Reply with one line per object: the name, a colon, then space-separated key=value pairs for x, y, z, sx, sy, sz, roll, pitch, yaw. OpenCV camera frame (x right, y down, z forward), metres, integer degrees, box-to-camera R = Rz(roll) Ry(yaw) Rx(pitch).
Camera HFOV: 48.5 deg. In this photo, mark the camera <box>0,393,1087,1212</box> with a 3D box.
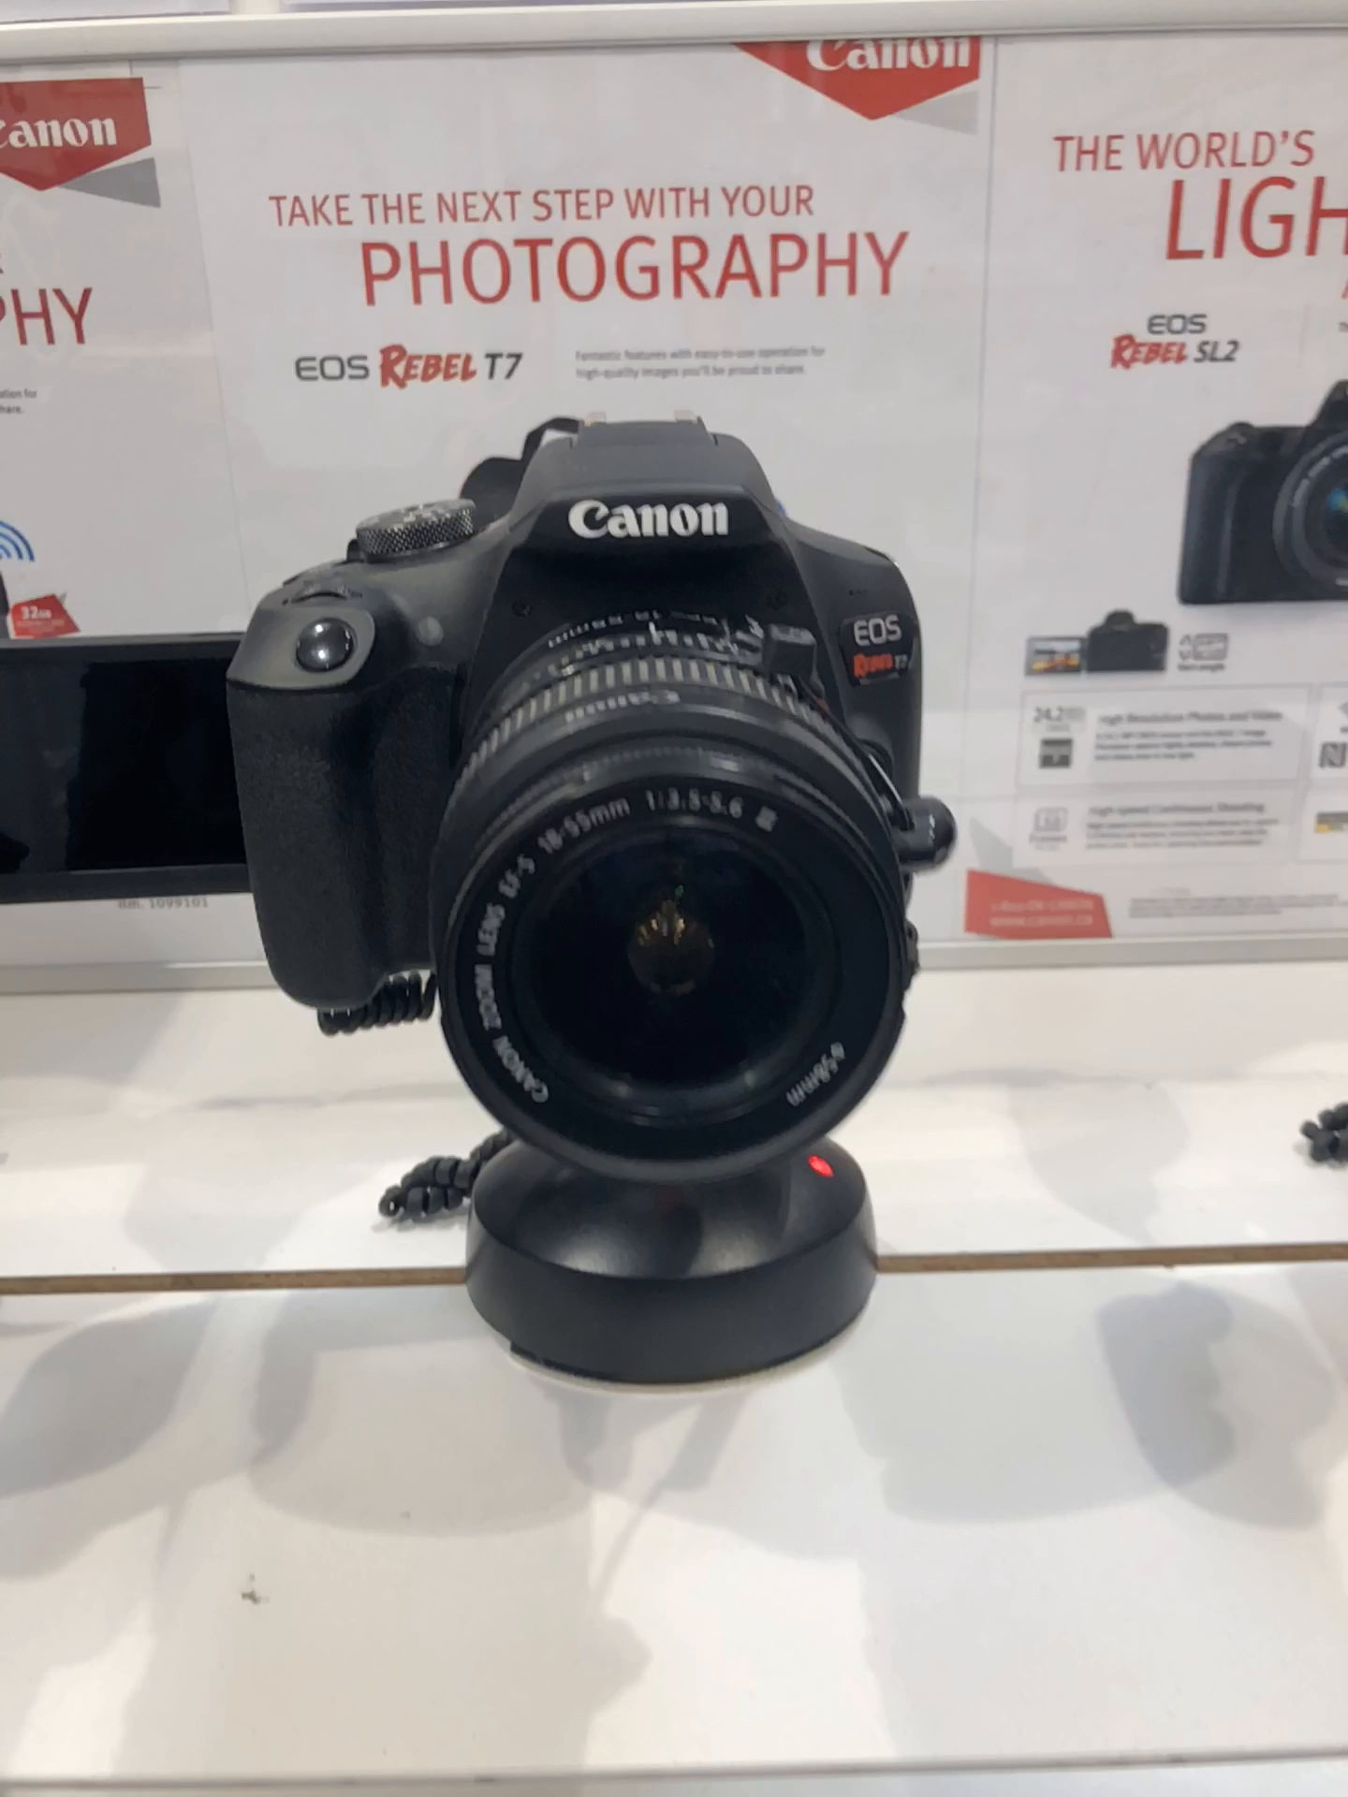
camera: x=-0.014 y=-0.029 z=0.262 sx=0.130 sy=0.099 sz=0.141 roll=-1 pitch=23 yaw=1
